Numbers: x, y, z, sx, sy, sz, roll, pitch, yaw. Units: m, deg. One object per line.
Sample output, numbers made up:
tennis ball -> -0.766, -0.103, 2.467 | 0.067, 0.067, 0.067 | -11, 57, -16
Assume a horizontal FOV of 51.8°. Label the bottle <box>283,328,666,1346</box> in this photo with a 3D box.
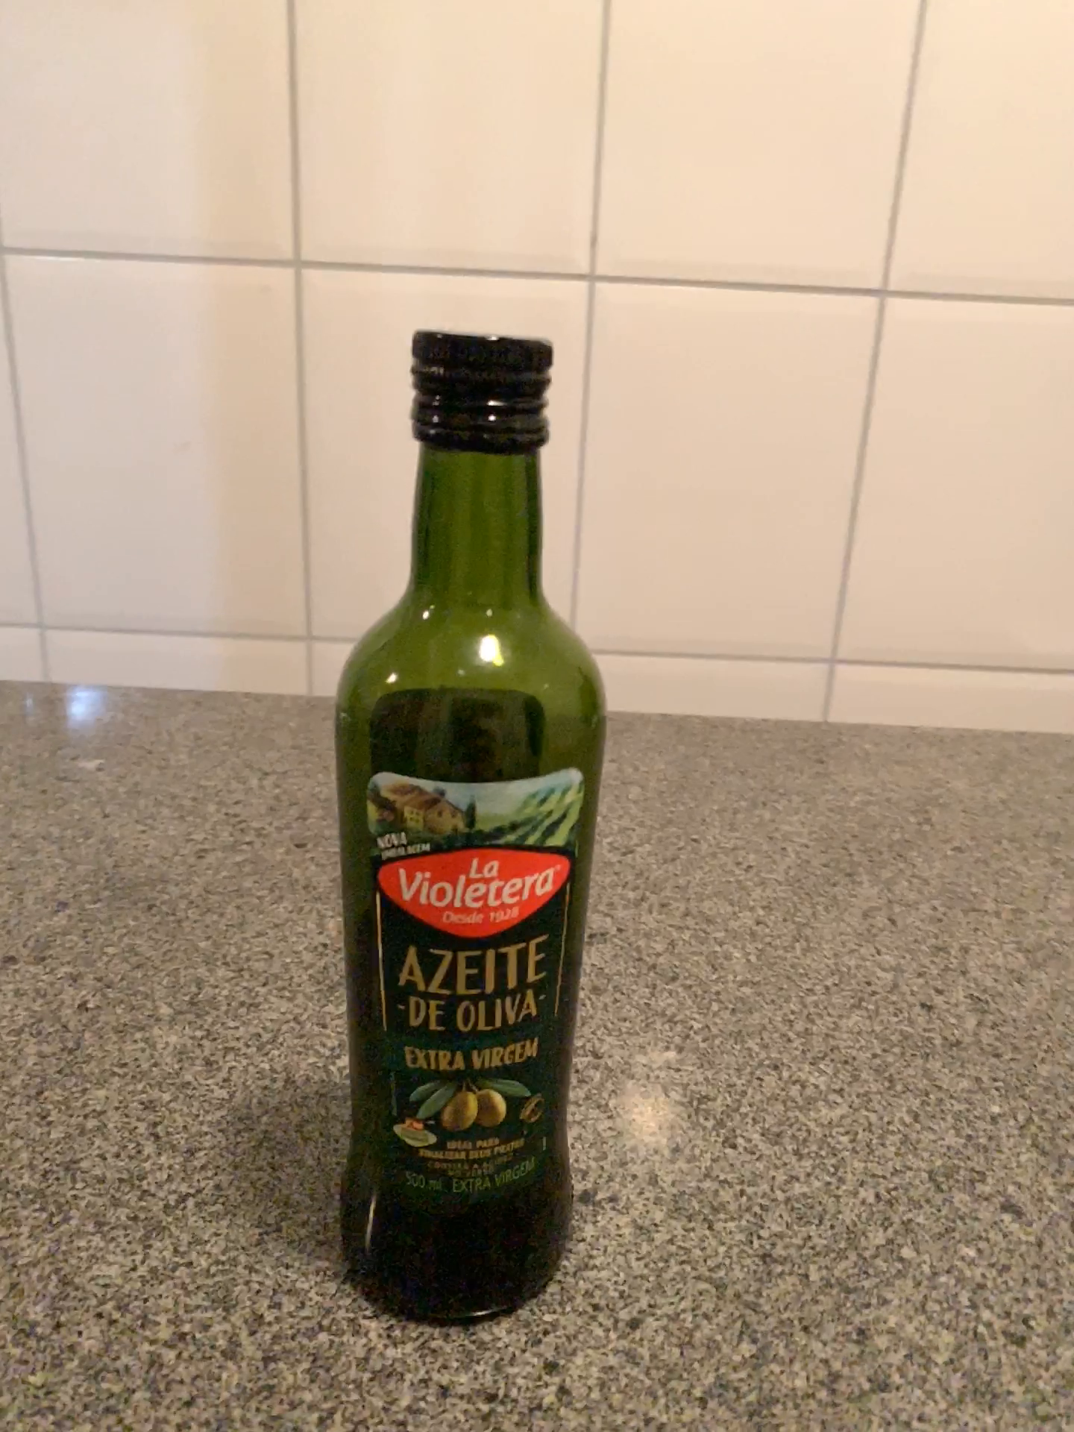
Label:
bottle -> -0.020, 0.034, 0.269 | 0.070, 0.239, 0.060 | 1, 19, -7
